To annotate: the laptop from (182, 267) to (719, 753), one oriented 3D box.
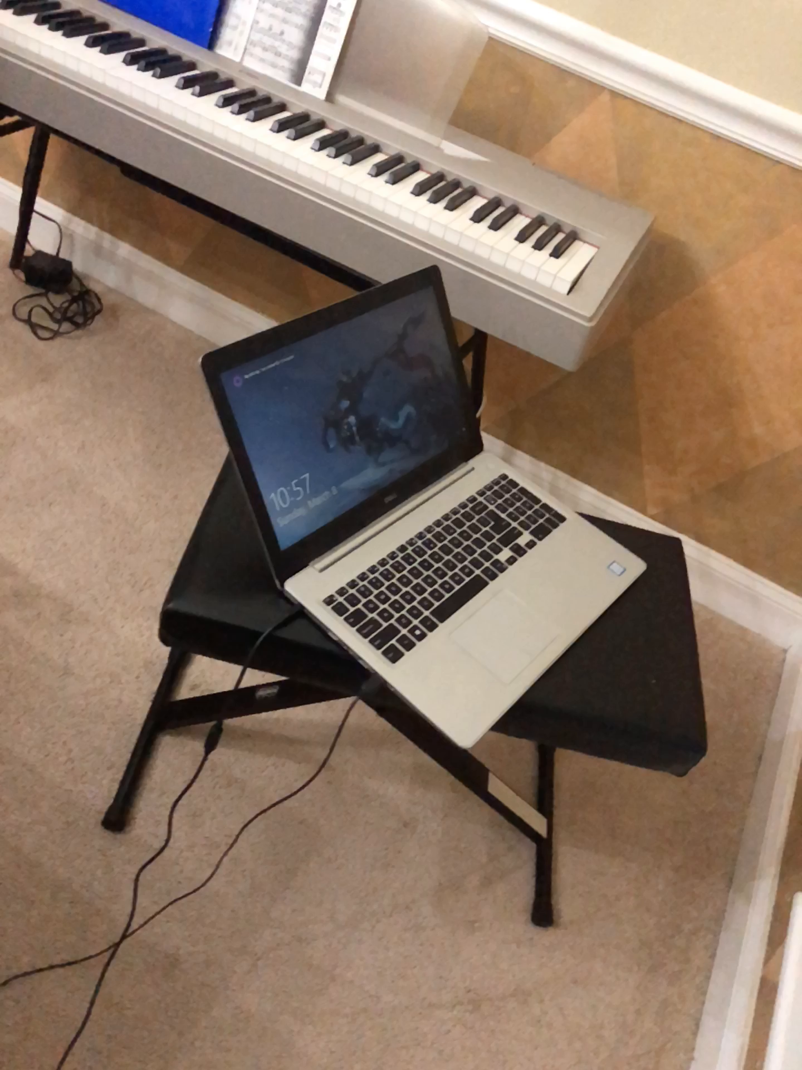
[{"bbox_3d":[0.051,-0.061,0.948,0.408,0.183,0.376,39,47,19],"label":"laptop"}]
